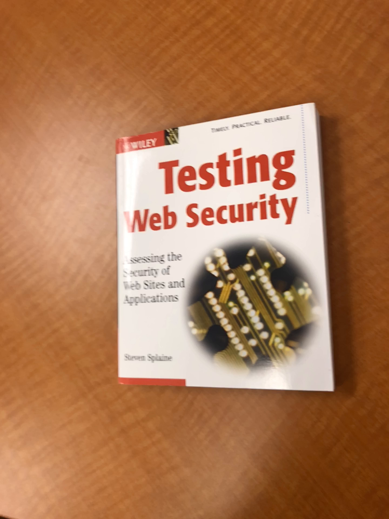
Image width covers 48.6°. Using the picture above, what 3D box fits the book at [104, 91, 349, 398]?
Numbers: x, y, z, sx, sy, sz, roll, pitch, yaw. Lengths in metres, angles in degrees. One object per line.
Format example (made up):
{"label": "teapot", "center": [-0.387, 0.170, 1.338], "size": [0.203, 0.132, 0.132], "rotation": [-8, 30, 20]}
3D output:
{"label": "book", "center": [0.018, -0.008, 0.367], "size": [0.200, 0.030, 0.230], "rotation": [-4, 83, 20]}
